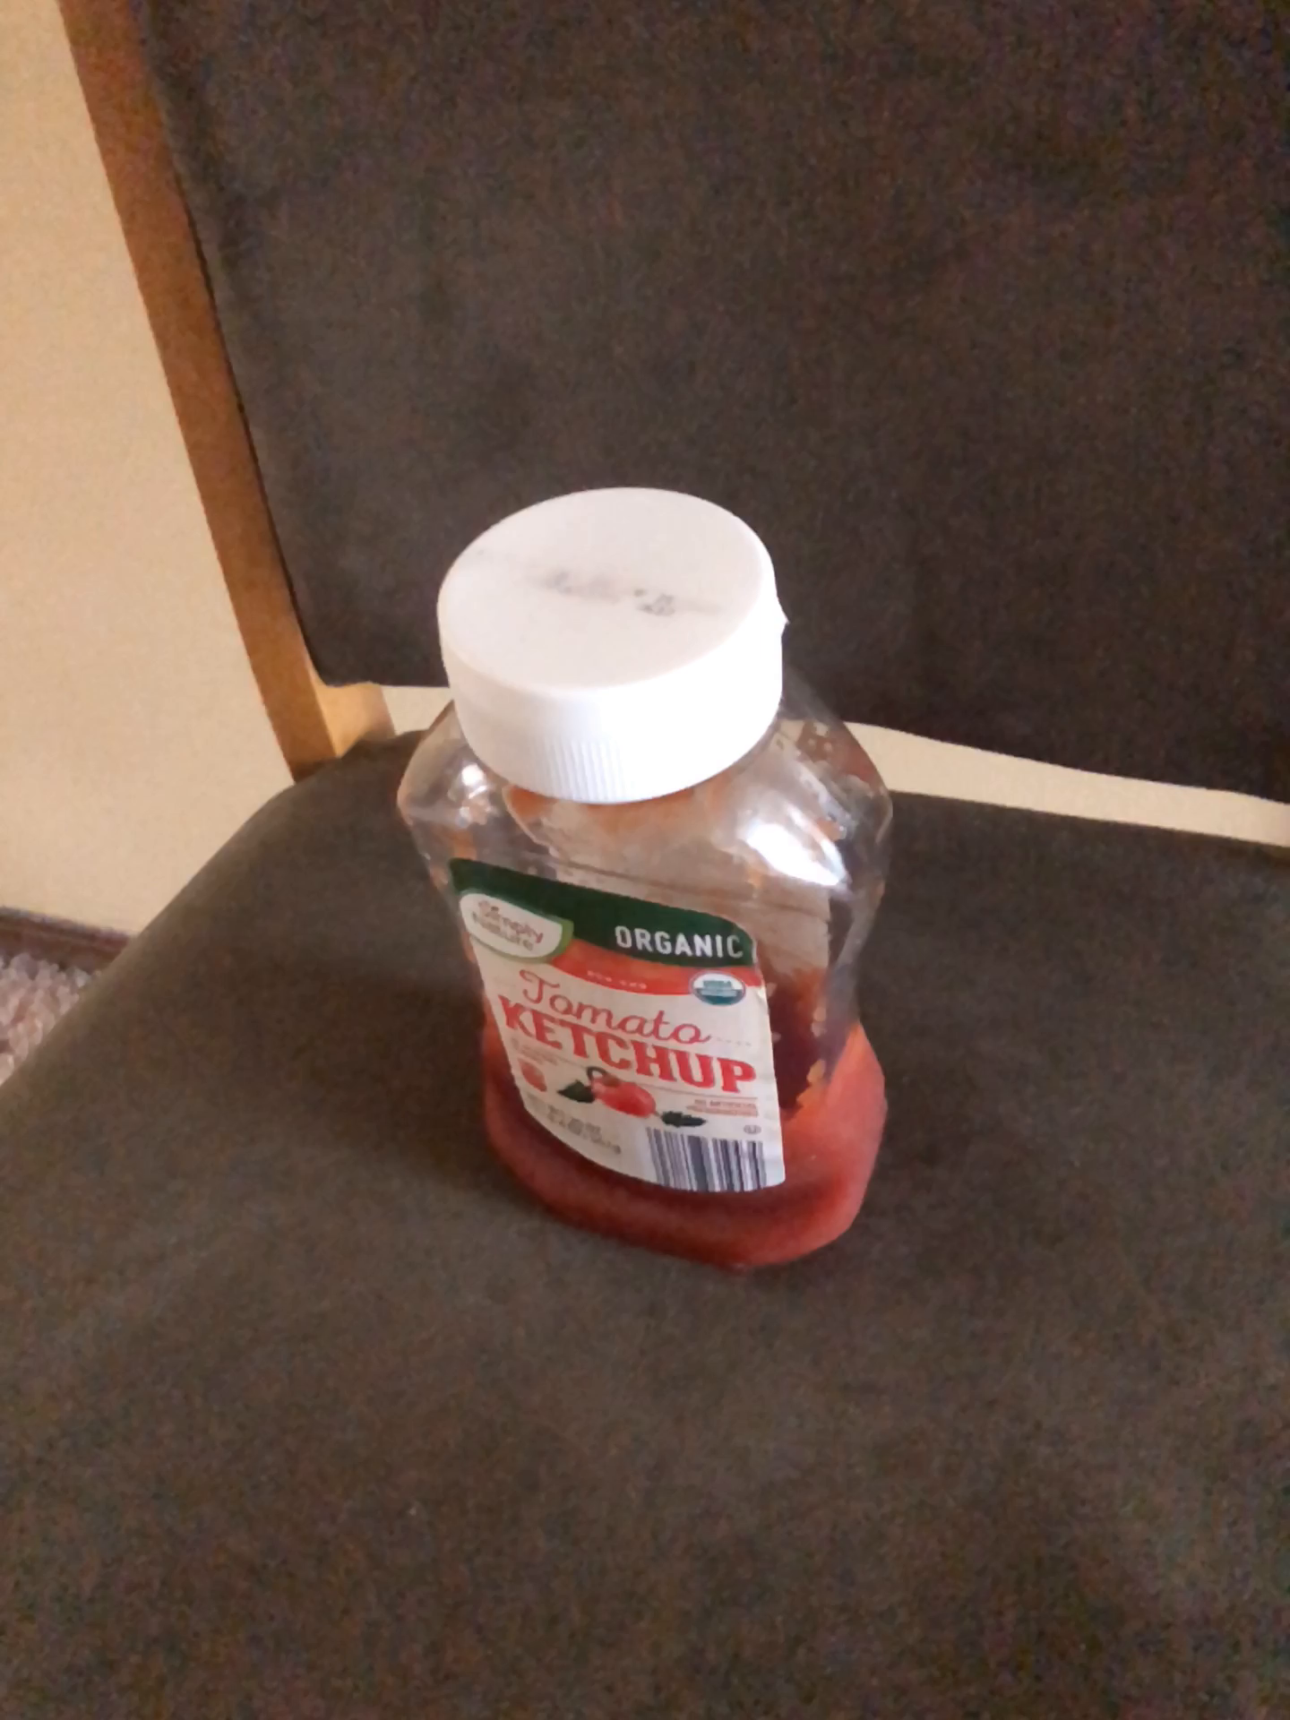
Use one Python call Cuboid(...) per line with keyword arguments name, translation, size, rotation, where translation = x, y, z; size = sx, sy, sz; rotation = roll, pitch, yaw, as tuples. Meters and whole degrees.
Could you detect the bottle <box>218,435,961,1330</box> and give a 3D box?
Cuboid(name="bottle", translation=(0.001, 0.013, 0.282), size=(0.100, 0.170, 0.060), rotation=(12, 50, 19))
